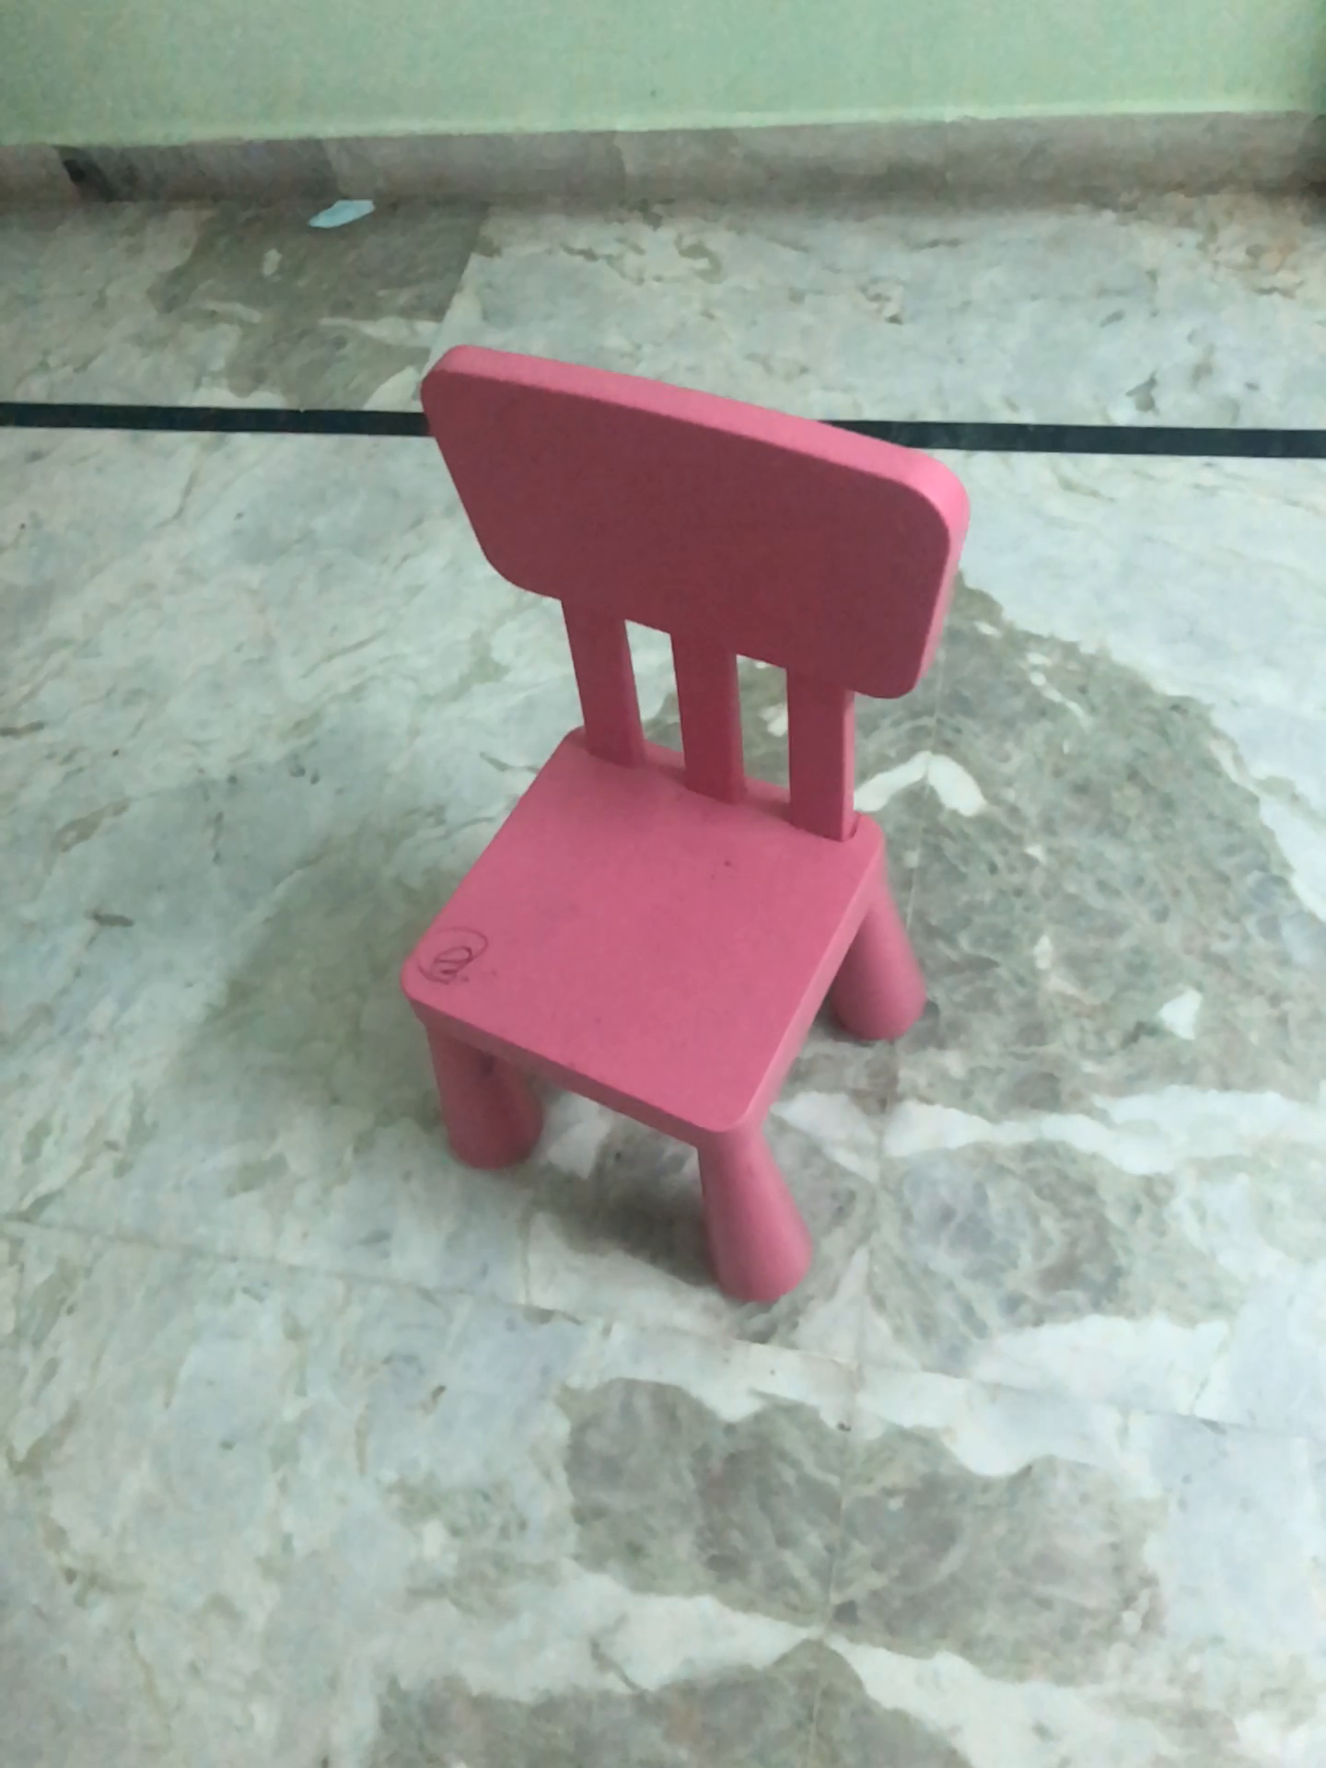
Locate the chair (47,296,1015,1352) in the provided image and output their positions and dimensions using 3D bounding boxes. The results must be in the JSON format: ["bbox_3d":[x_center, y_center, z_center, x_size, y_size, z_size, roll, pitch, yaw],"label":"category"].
[{"bbox_3d":[-0.023,-0.002,1.051,0.401,0.627,0.381,20,64,21],"label":"chair"}]
